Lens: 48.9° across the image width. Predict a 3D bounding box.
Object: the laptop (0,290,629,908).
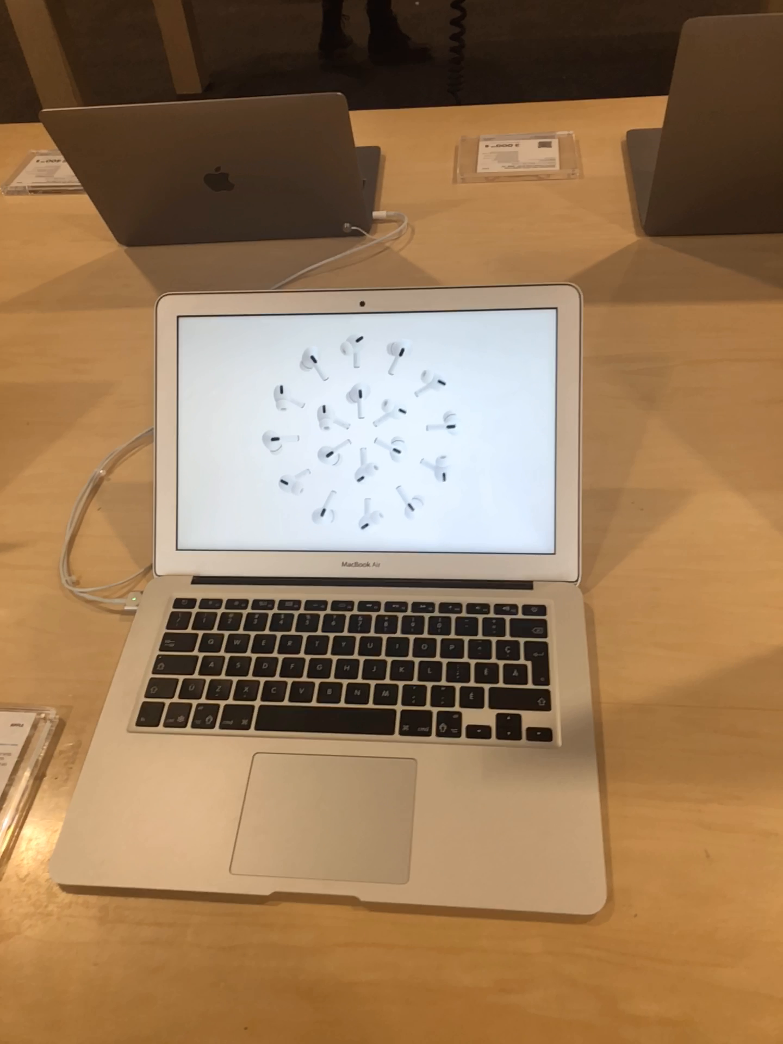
[{"bbox_3d":[-0.031,0.019,0.549,0.302,0.137,0.372,0,48,7],"label":"laptop"}]
